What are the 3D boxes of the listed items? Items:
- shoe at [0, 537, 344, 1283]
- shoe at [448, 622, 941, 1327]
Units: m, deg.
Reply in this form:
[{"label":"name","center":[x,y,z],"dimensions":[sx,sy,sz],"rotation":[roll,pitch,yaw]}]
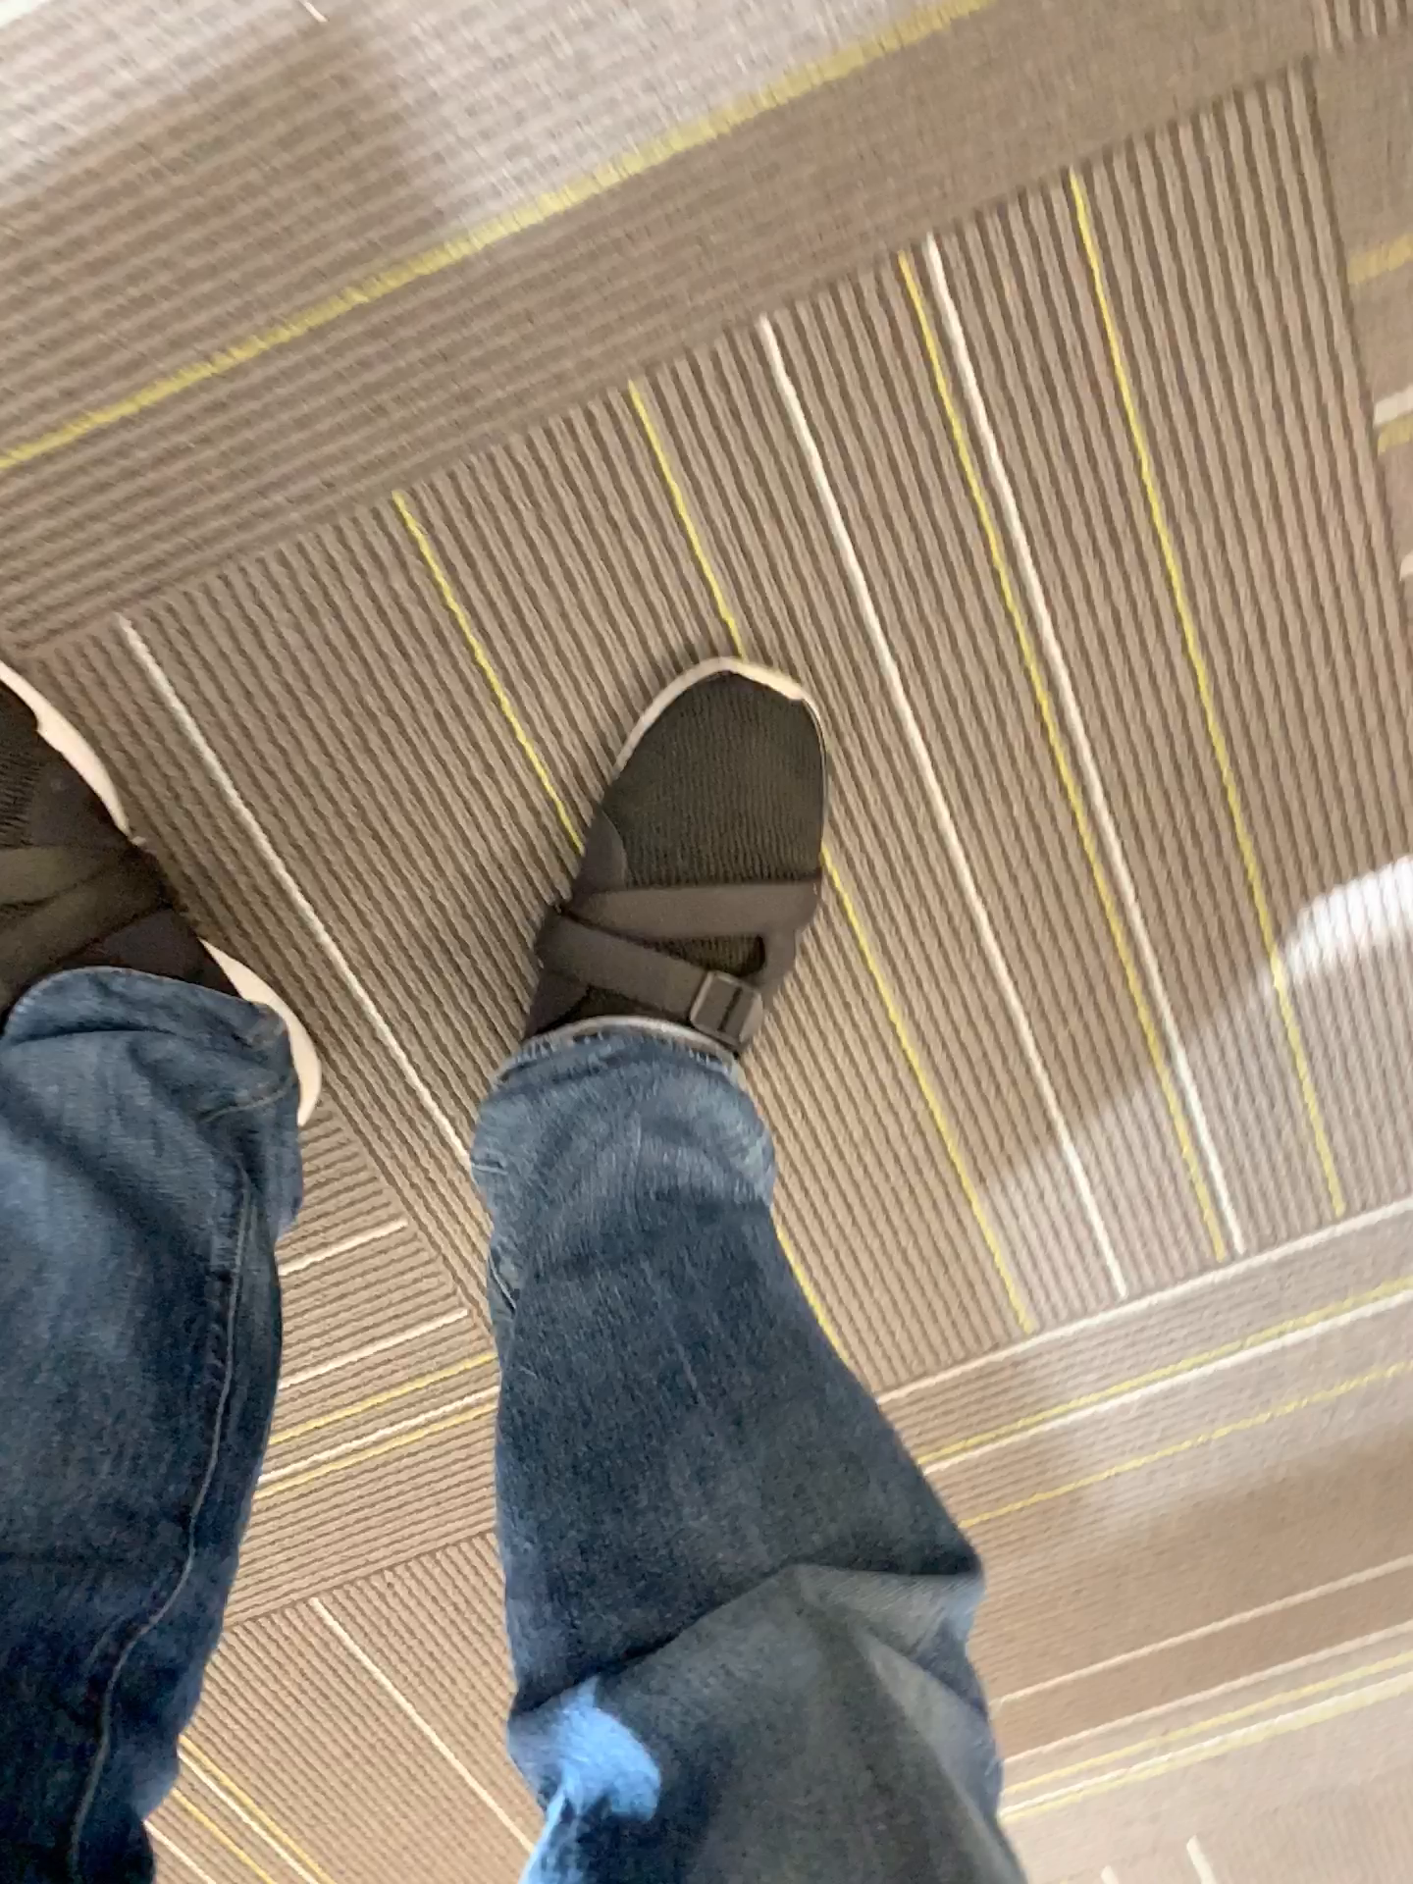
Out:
[{"label":"shoe","center":[-0.308,-0.008,0.657],"dimensions":[0.120,0.119,0.301],"rotation":[-25,118,8]},{"label":"shoe","center":[-0.018,0.023,0.684],"dimensions":[0.120,0.109,0.301],"rotation":[17,115,-14]}]
